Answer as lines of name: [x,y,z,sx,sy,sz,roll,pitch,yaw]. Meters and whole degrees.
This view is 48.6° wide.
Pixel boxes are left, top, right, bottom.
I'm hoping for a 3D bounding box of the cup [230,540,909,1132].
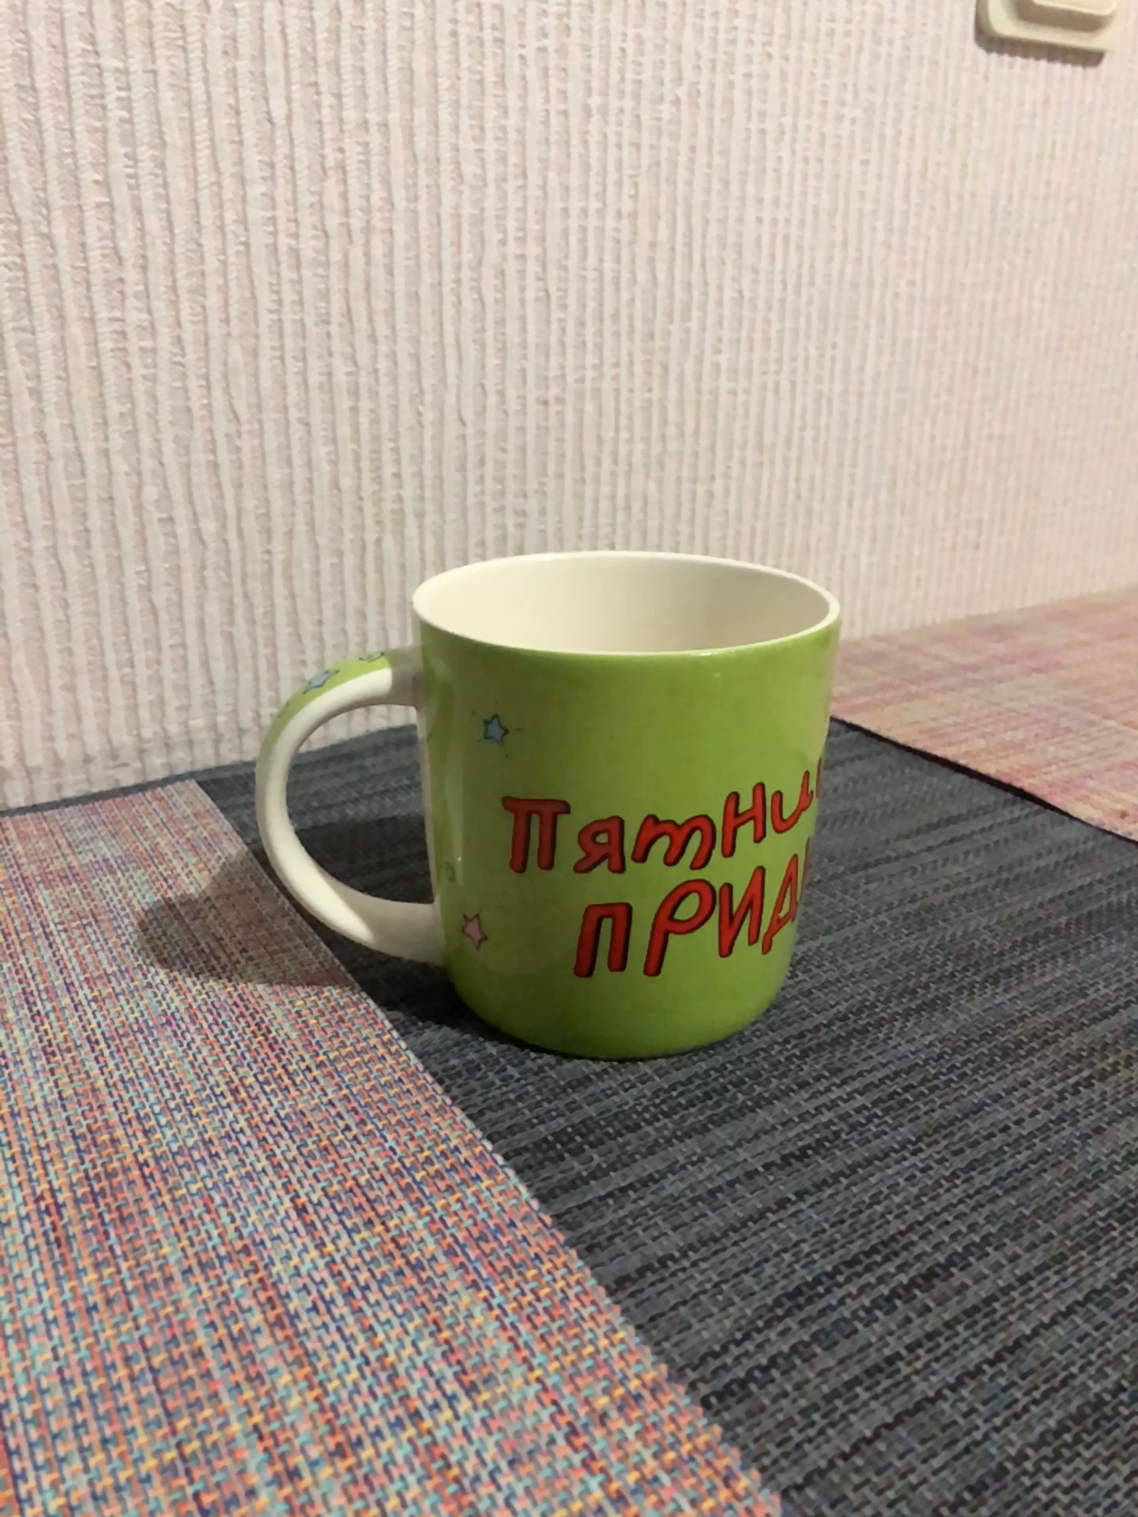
cup: [-0.007,0.007,0.264,0.115,0.084,0.090,-5,21,-15]
